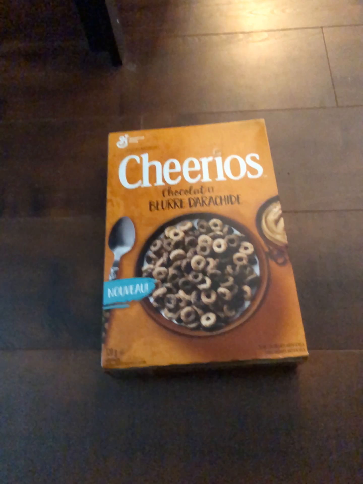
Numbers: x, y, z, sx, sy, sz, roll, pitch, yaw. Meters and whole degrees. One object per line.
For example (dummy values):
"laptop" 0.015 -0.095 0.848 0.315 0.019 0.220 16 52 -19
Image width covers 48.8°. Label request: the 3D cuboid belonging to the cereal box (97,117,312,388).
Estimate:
"cereal box" 0.015 0.002 0.464 0.200 0.060 0.301 -5 64 3
